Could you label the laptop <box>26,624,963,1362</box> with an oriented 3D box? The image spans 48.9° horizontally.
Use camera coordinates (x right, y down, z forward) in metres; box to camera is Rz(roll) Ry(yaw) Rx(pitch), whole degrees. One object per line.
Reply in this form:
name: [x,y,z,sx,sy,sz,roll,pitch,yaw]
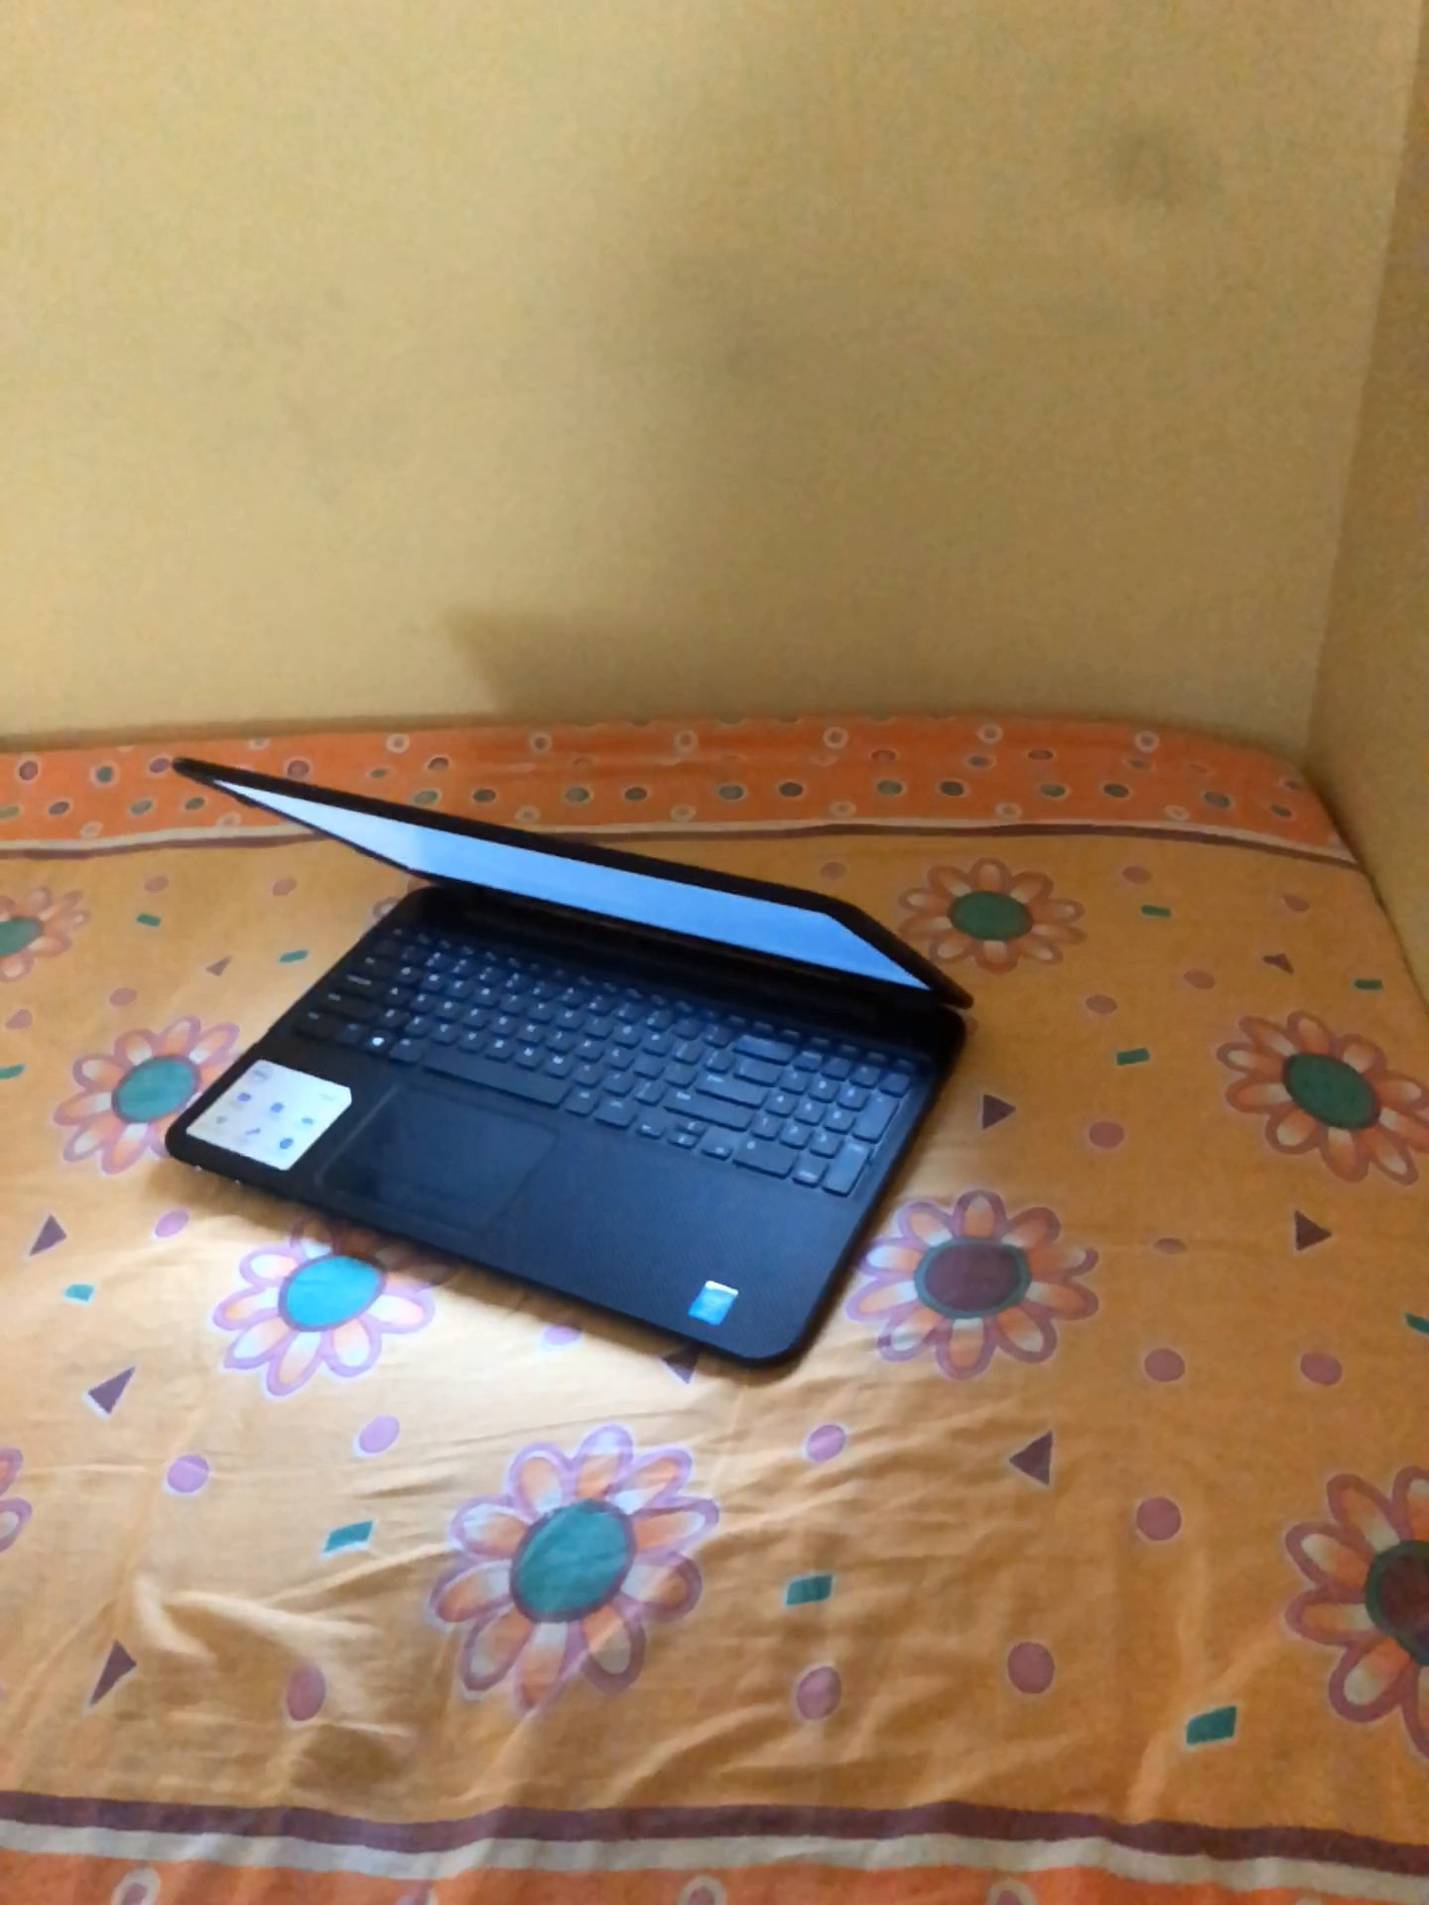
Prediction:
laptop: [-0.091,-0.002,0.786,0.367,0.190,0.238,13,44,24]
